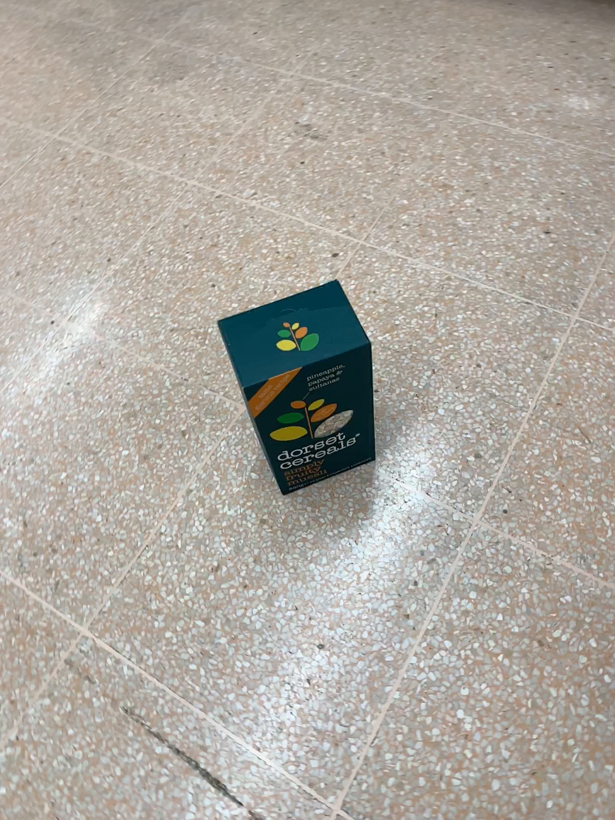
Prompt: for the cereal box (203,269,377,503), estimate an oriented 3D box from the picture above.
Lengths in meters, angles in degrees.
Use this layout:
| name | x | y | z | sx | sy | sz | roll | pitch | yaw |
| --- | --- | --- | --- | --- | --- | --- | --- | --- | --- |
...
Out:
| name | x | y | z | sx | sy | sz | roll | pitch | yaw |
| --- | --- | --- | --- | --- | --- | --- | --- | --- | --- |
| cereal box | -0.005 | -0.009 | 0.614 | 0.120 | 0.238 | 0.080 | -20 | 60 | -4 |
